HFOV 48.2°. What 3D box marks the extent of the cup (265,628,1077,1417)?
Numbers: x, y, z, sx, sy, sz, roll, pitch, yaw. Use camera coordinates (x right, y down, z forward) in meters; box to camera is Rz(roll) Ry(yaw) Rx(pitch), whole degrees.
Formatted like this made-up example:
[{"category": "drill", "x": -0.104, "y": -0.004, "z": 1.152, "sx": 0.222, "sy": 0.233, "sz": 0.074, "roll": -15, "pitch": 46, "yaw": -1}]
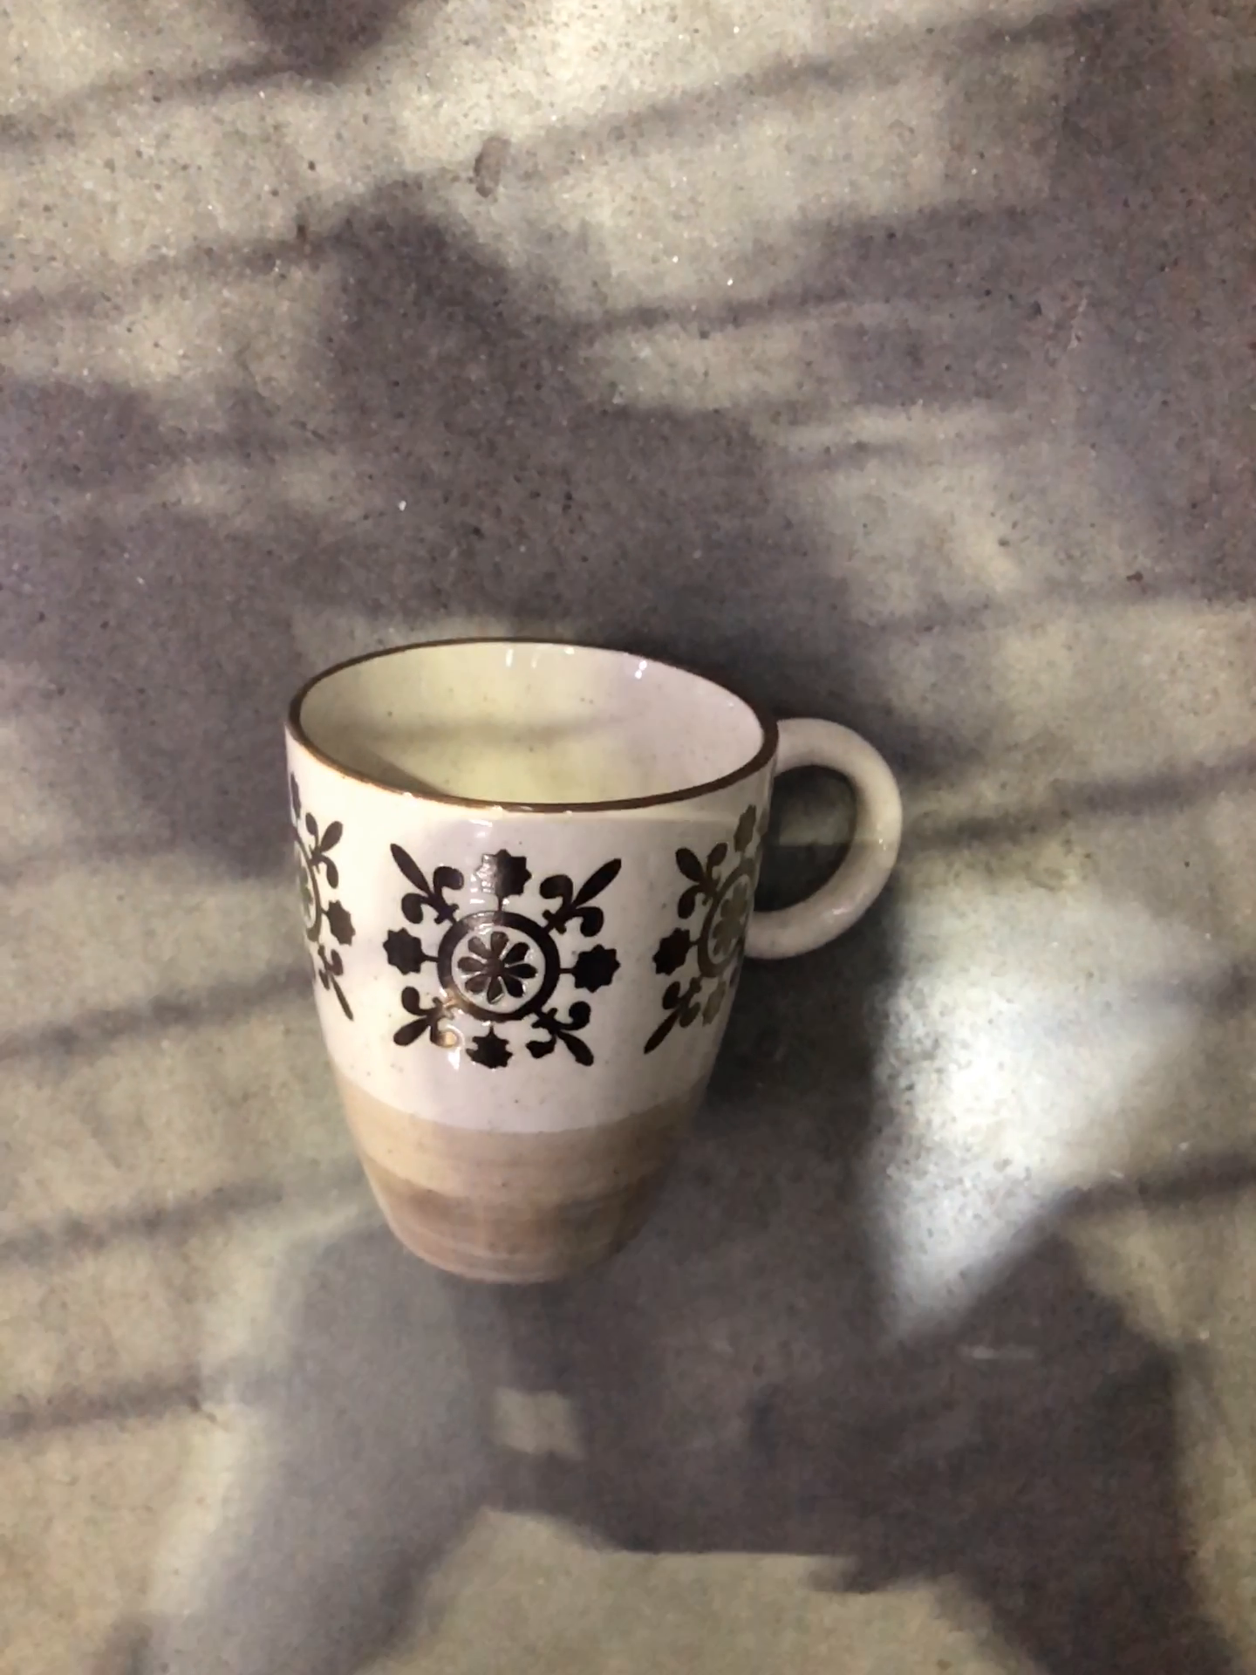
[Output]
[{"category": "cup", "x": -0.001, "y": 0.021, "z": 0.222, "sx": 0.100, "sy": 0.070, "sz": 0.090, "roll": -4, "pitch": 115, "yaw": -20}]
